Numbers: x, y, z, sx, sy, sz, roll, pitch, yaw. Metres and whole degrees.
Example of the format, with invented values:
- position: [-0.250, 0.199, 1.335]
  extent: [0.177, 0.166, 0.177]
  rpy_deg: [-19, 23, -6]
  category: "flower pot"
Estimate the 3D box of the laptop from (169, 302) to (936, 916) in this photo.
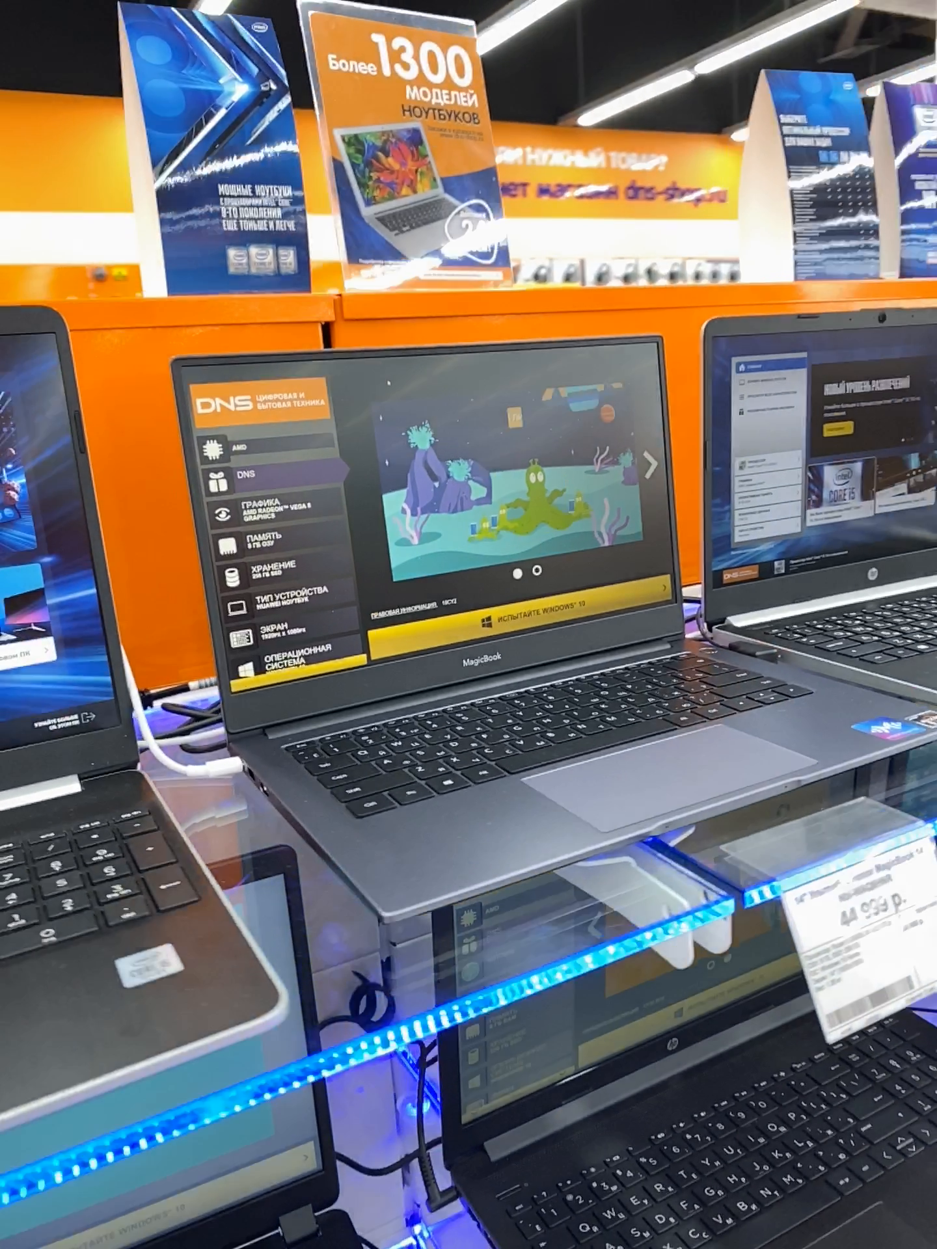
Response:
- position: [0.048, -0.044, 0.492]
  extent: [0.323, 0.203, 0.238]
  rpy_deg: [-10, 15, -27]
  category: "laptop"
